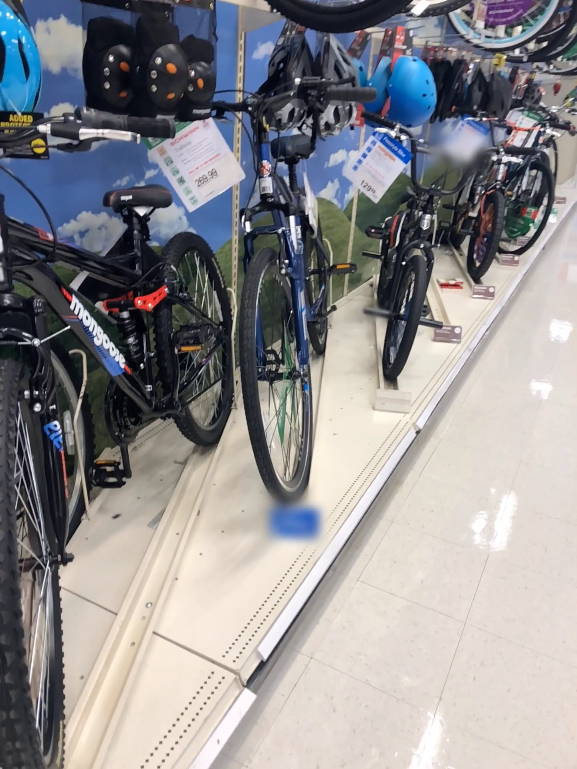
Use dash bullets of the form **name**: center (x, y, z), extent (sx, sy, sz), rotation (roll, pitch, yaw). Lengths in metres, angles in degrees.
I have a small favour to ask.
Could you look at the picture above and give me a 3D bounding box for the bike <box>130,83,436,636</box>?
- **bike**: center (0.034, -0.331, 2.081), extent (0.529, 1.098, 1.748), rotation (5, 28, 4)
